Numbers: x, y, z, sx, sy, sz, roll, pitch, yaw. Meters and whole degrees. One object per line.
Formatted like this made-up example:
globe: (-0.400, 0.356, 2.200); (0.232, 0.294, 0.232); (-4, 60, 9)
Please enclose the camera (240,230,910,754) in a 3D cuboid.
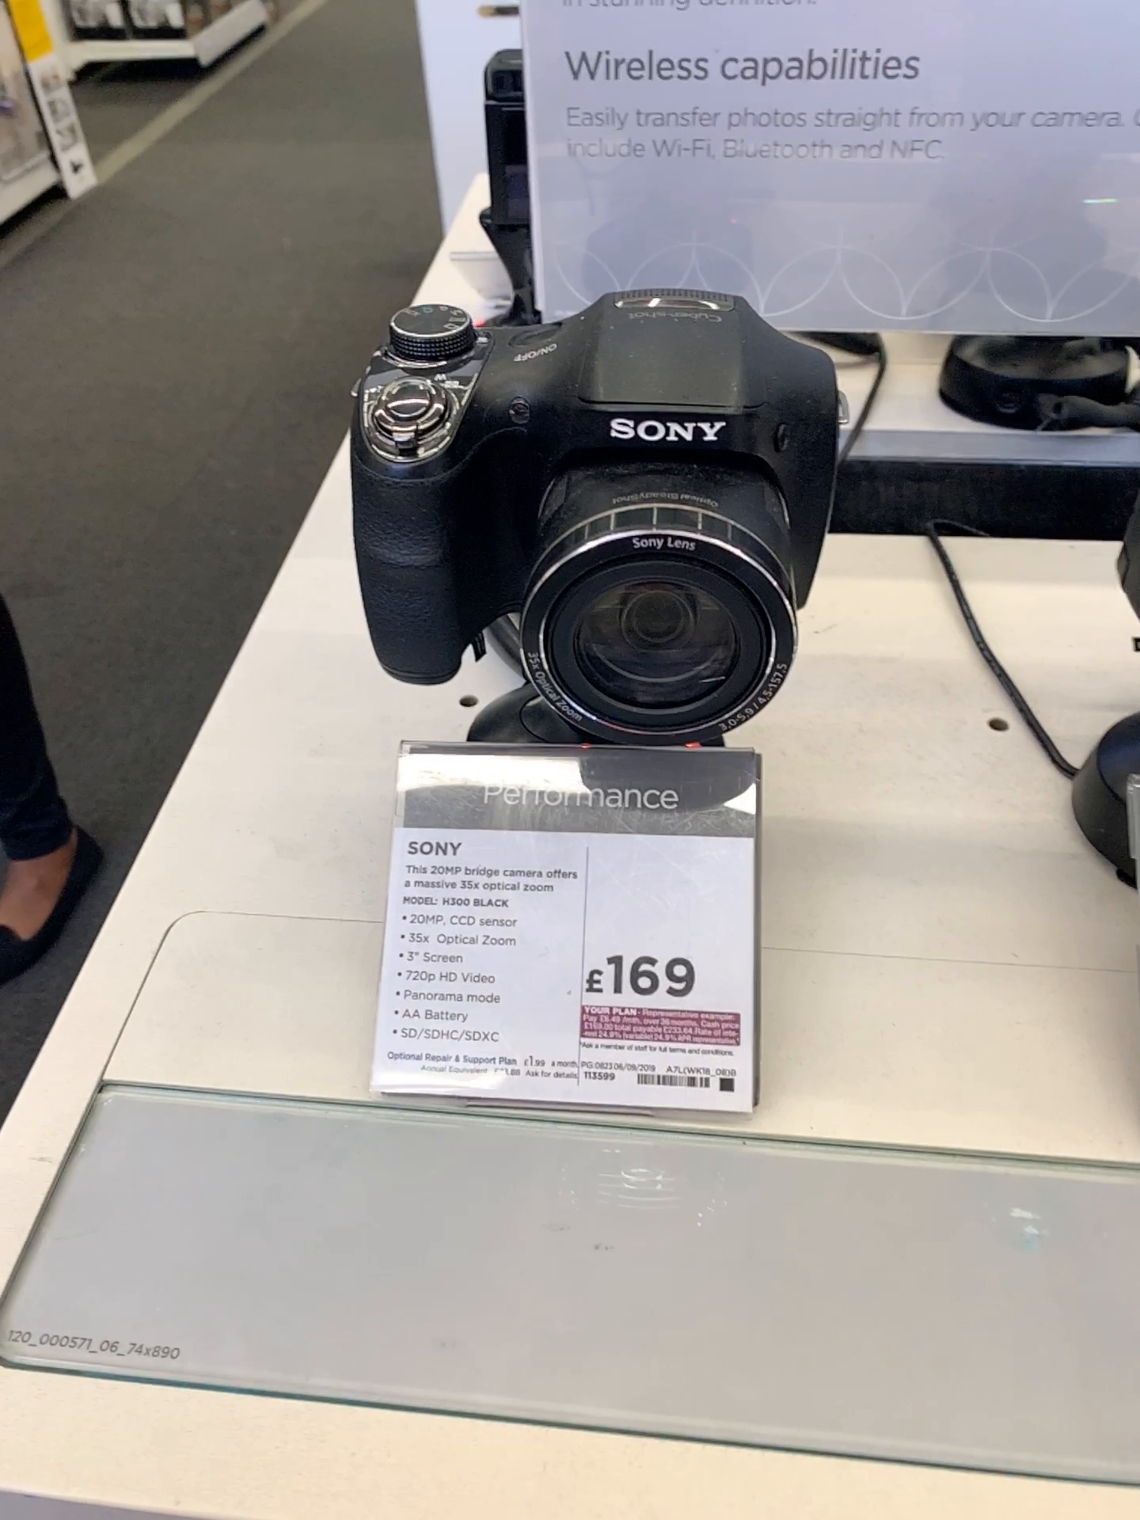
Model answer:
camera: (0.005, -0.068, 0.290); (0.130, 0.089, 0.091); (3, 43, 6)
